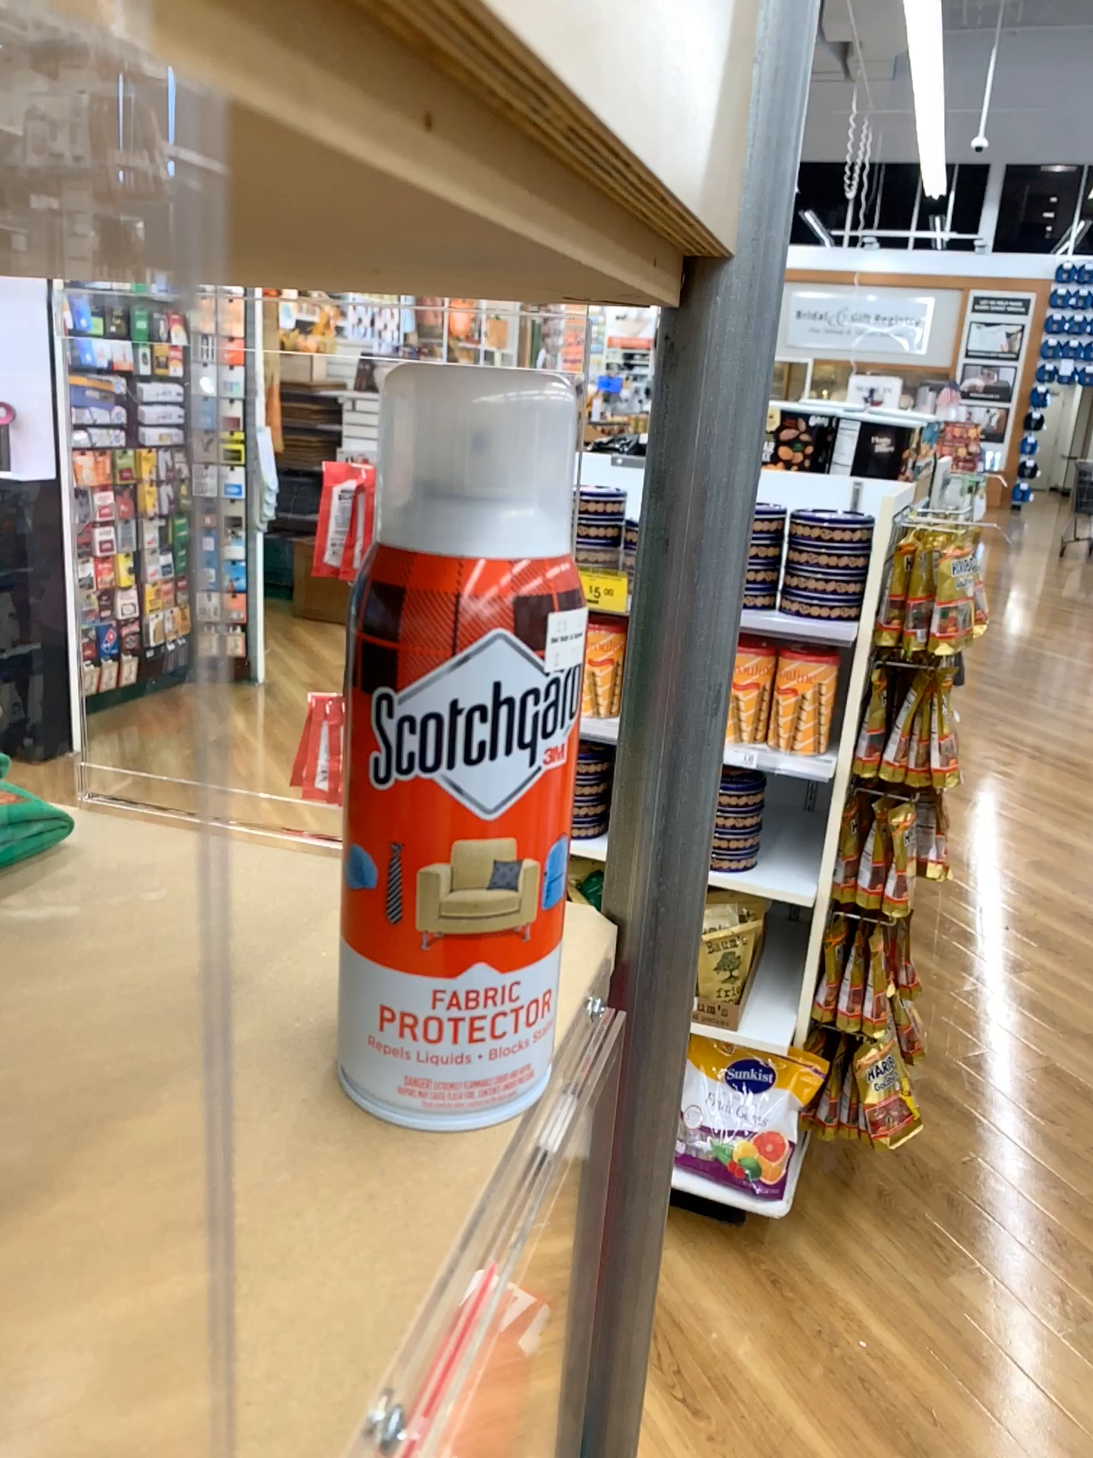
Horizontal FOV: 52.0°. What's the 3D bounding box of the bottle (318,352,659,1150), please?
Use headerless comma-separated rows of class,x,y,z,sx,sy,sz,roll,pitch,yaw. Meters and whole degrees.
bottle,-0.024,0.005,0.316,0.069,0.206,0.067,4,17,-1
